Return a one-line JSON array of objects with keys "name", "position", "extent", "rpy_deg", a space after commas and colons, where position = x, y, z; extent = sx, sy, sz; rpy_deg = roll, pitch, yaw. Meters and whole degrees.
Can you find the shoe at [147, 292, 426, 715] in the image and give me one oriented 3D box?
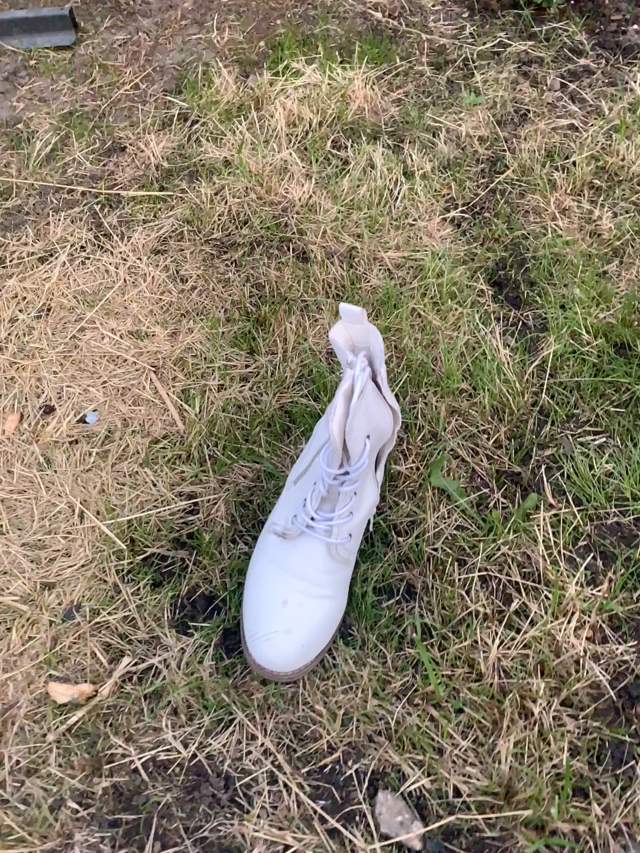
[{"name": "shoe", "position": [-0.005, 0.059, 0.512], "extent": [0.100, 0.179, 0.262], "rpy_deg": [15, 58, 14]}]
